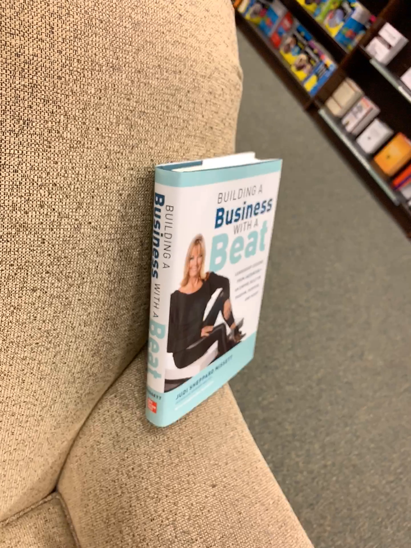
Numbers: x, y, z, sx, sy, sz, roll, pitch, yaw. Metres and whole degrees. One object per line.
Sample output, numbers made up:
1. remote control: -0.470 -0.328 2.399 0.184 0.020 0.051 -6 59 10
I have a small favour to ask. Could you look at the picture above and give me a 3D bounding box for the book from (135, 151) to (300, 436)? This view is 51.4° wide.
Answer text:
1. book: 0.012 0.010 0.406 0.040 0.229 0.171 23 30 34
